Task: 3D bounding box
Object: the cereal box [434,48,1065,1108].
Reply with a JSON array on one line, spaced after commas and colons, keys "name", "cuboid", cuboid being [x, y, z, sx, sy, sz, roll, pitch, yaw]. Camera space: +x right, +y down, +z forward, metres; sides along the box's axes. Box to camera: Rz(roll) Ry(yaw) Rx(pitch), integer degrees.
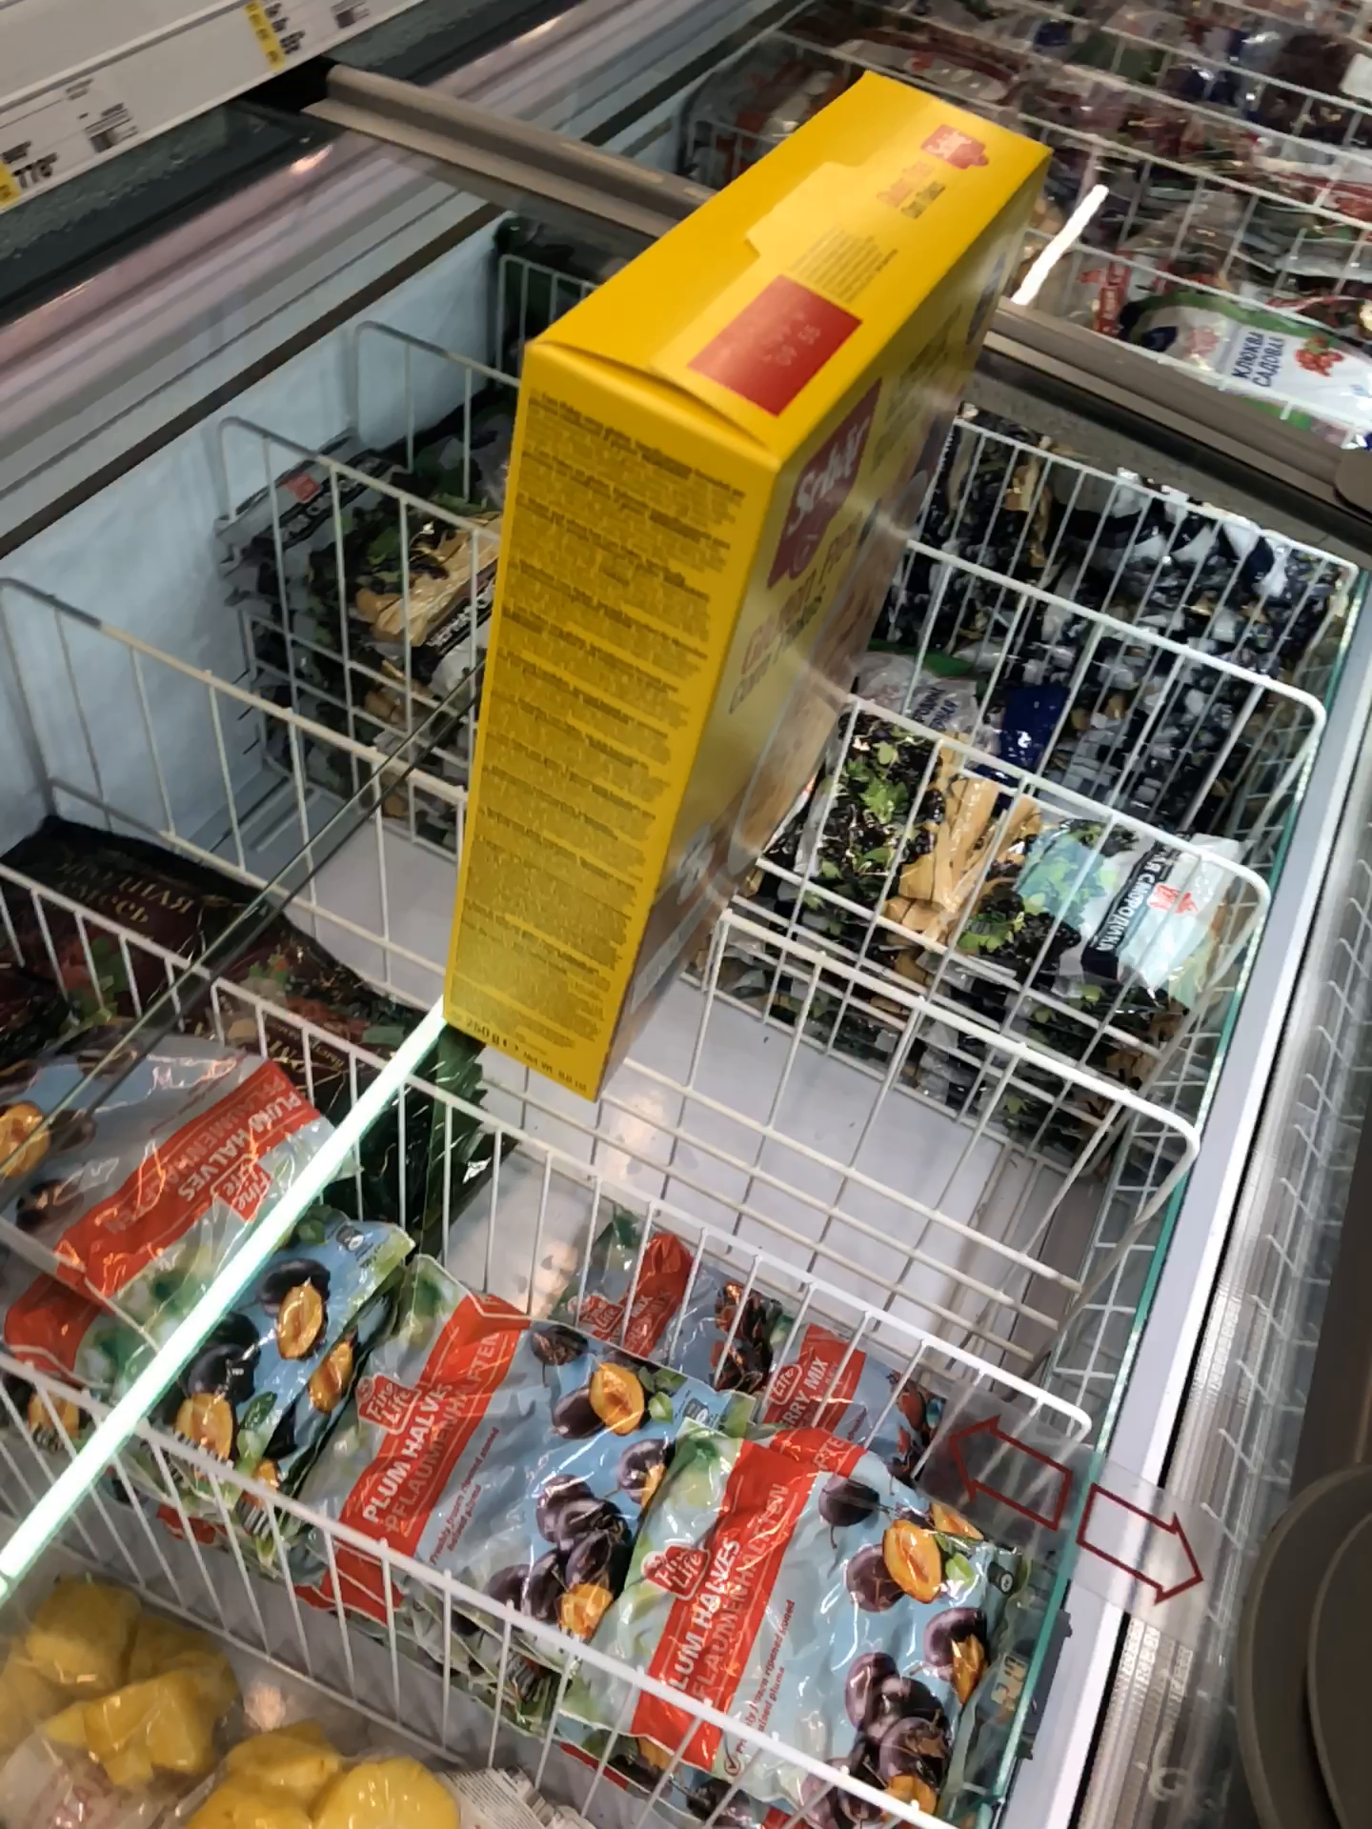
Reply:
[{"name": "cereal box", "cuboid": [0.012, -0.092, 0.446, 0.060, 0.238, 0.201, 27, 51, 9]}]
